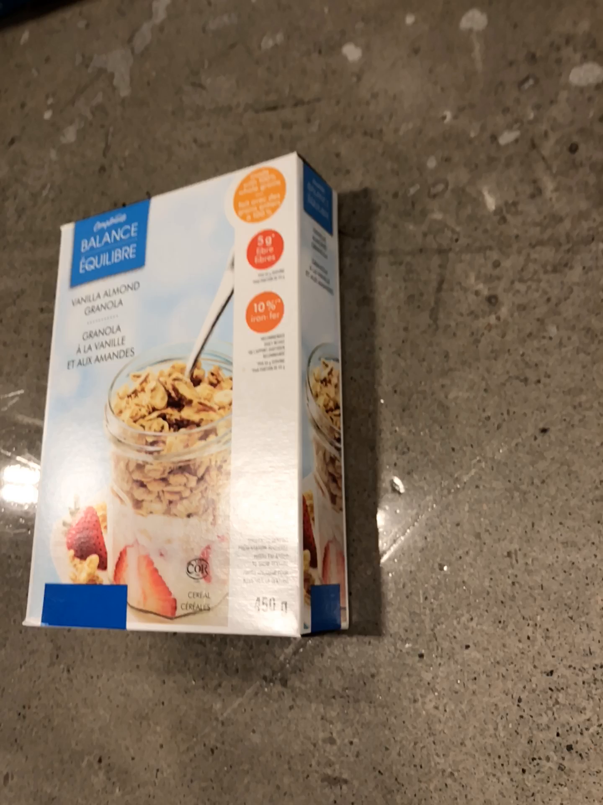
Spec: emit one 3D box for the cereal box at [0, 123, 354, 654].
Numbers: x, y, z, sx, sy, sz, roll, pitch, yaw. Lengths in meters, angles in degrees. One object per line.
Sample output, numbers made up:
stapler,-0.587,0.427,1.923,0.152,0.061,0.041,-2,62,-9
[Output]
cereal box,-0.074,-0.001,0.361,0.191,0.050,0.240,-7,76,27
